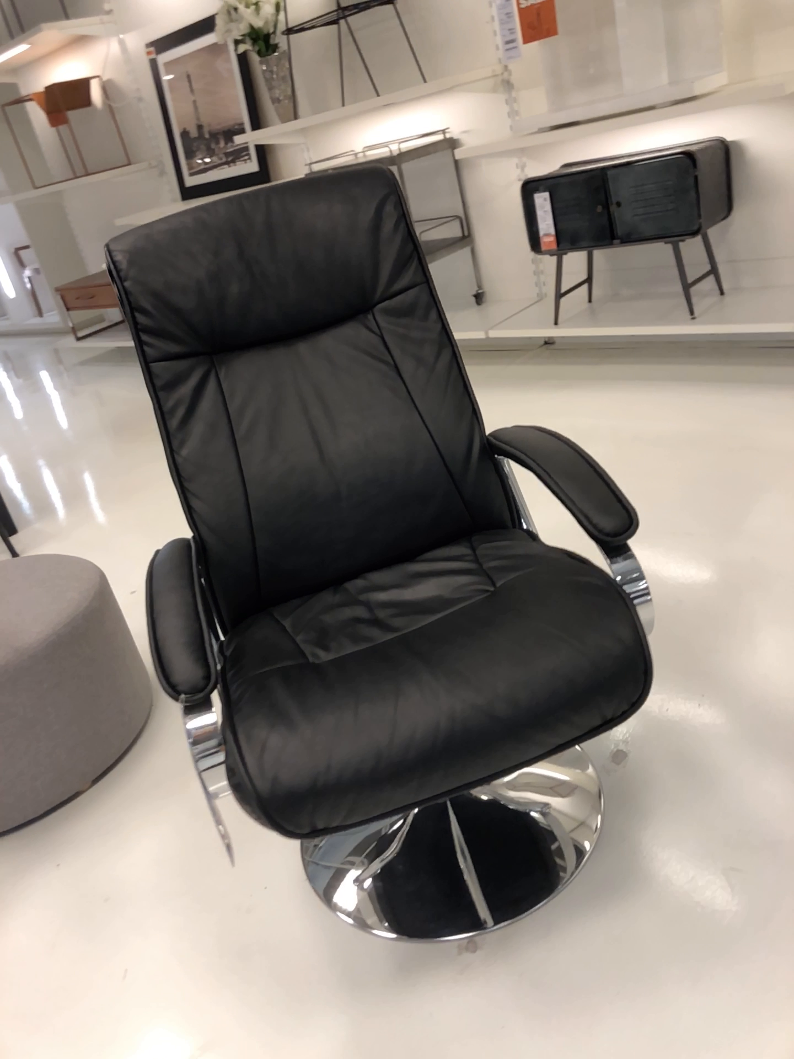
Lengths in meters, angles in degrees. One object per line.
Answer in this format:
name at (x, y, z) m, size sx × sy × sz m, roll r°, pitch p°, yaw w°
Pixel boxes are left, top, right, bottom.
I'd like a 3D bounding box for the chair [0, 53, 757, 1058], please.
chair at (-0.025, 0.008, 1.380) m, size 0.751 × 1.132 × 0.724 m, roll -21°, pitch 25°, yaw -13°
